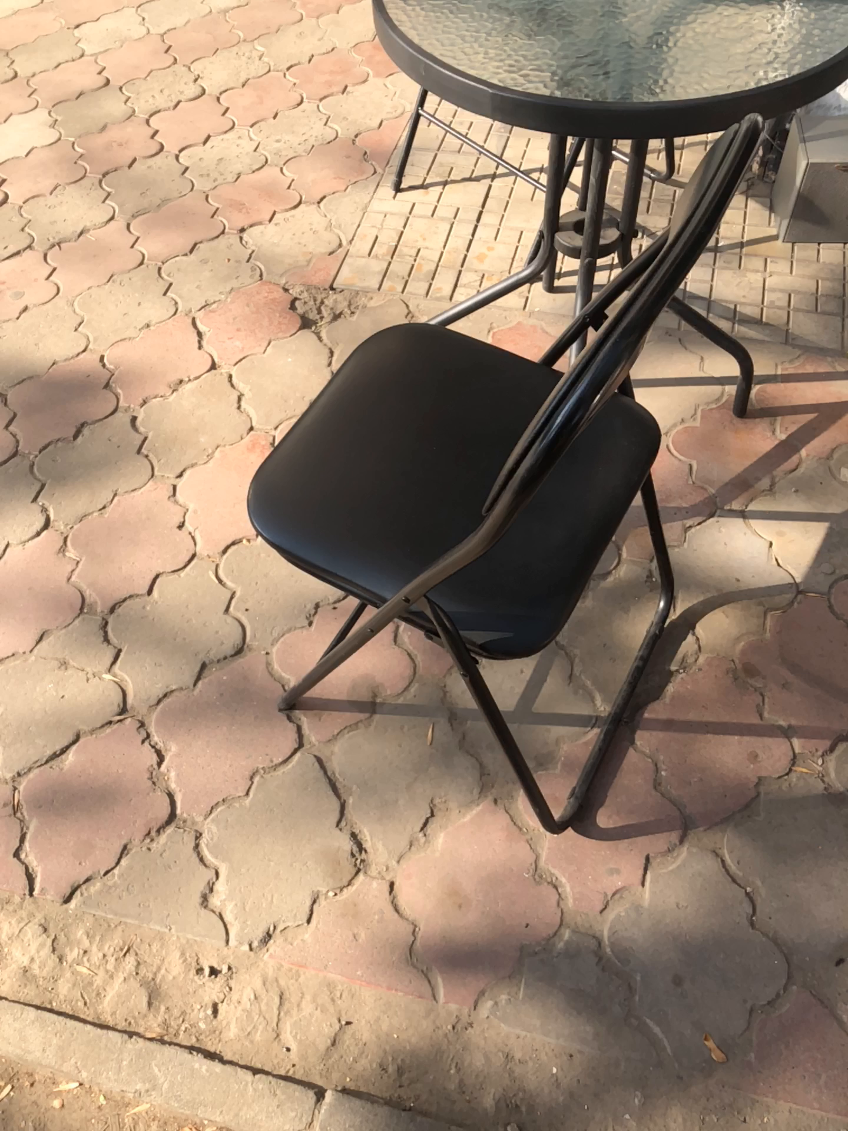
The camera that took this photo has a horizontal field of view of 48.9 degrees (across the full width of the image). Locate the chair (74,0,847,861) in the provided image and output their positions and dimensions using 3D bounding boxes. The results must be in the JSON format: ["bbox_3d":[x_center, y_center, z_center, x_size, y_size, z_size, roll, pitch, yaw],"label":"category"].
[{"bbox_3d":[0.074,-0.116,1.040,0.470,0.698,0.501,23,58,18],"label":"chair"}]
